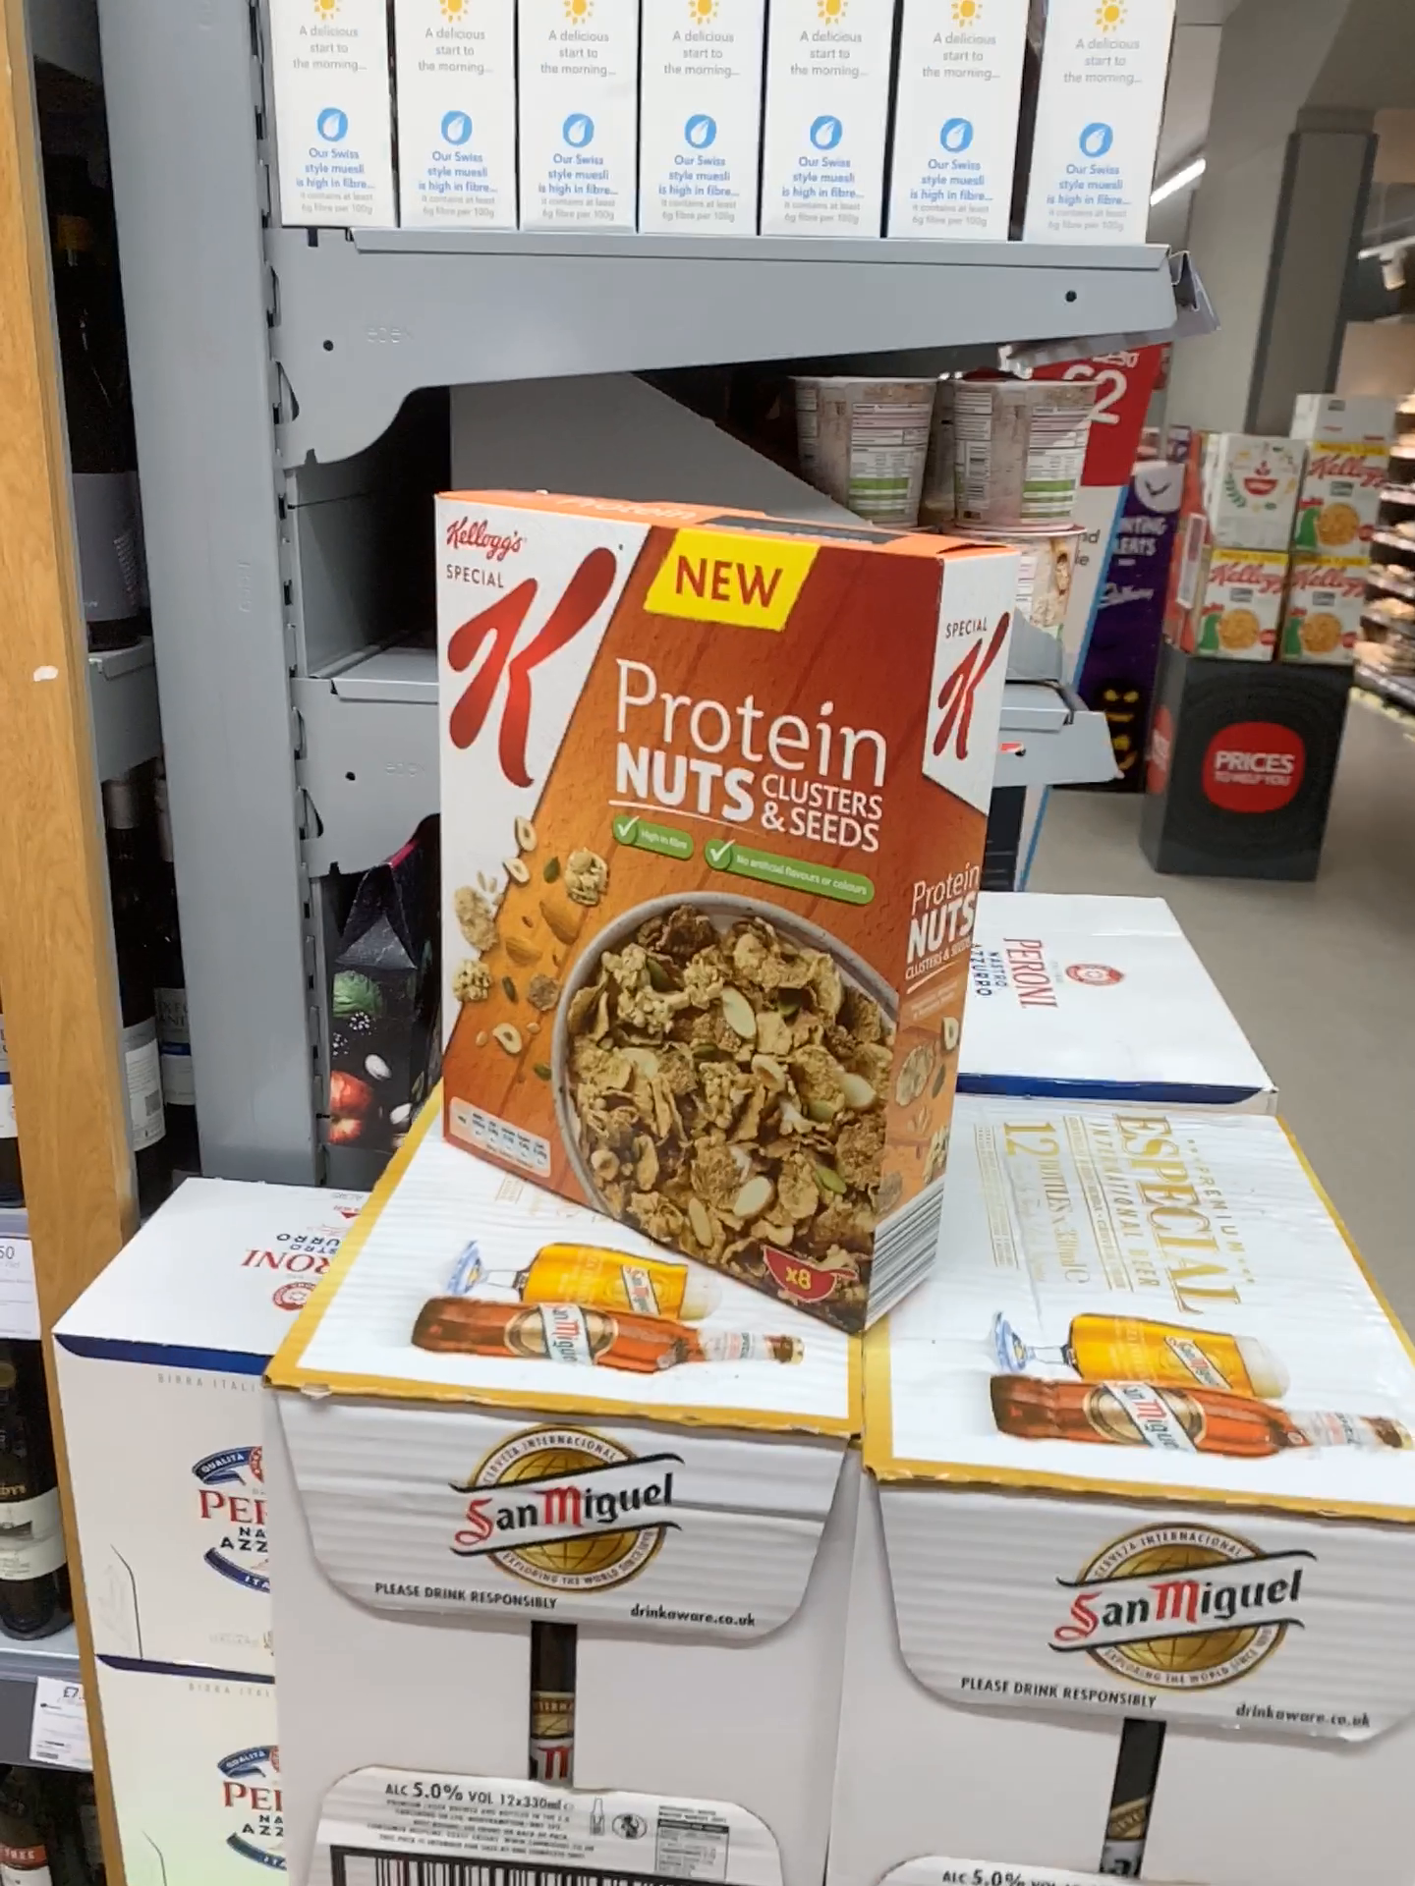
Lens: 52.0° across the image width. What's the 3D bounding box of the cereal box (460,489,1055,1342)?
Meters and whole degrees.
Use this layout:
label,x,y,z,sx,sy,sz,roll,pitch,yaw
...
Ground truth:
label,x,y,z,sx,sy,sz,roll,pitch,yaw
cereal box,0.003,-0.020,0.481,0.191,0.238,0.050,17,24,36
